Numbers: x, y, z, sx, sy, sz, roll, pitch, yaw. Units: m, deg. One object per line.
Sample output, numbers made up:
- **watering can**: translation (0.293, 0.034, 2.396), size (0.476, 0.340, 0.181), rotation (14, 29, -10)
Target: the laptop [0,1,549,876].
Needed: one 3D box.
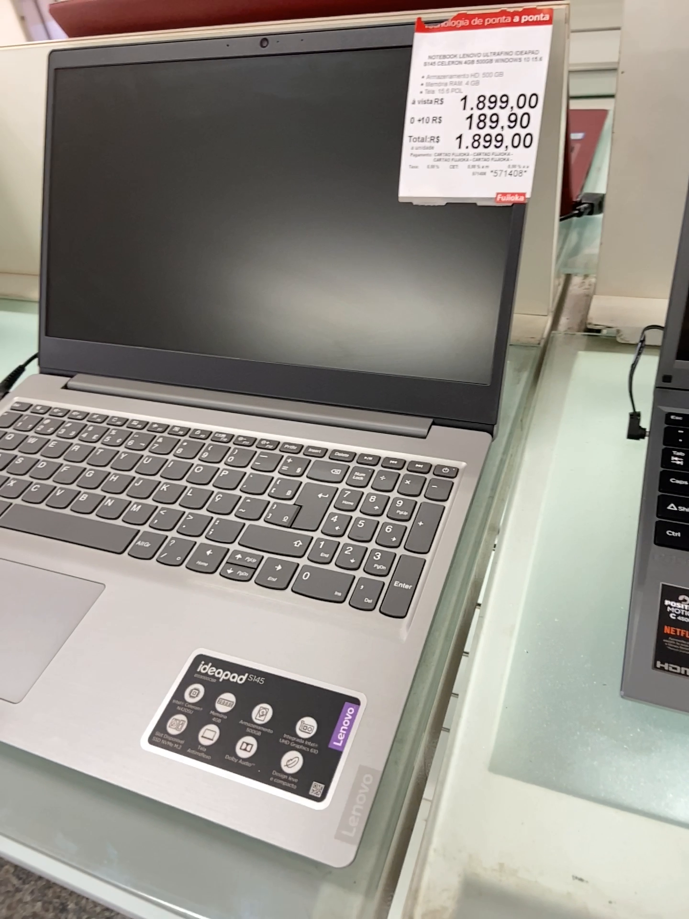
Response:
- **laptop**: translation (-0.110, -0.077, 0.398), size (0.367, 0.189, 0.403), rotation (8, 46, 22)
